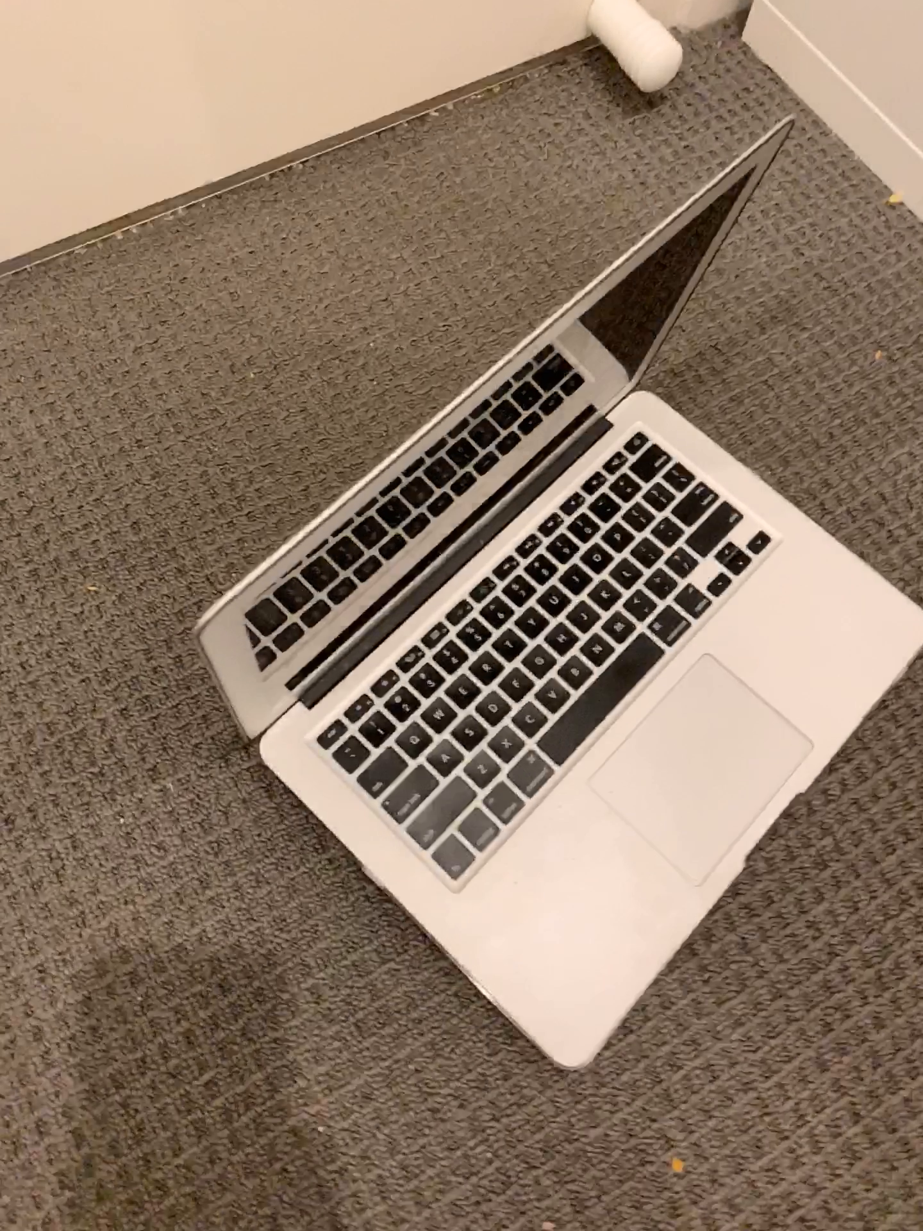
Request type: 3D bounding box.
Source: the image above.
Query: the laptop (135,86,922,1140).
[{"bbox_3d":[0.085,-0.002,0.423,0.226,0.215,0.322,42,72,13],"label":"laptop"}]
